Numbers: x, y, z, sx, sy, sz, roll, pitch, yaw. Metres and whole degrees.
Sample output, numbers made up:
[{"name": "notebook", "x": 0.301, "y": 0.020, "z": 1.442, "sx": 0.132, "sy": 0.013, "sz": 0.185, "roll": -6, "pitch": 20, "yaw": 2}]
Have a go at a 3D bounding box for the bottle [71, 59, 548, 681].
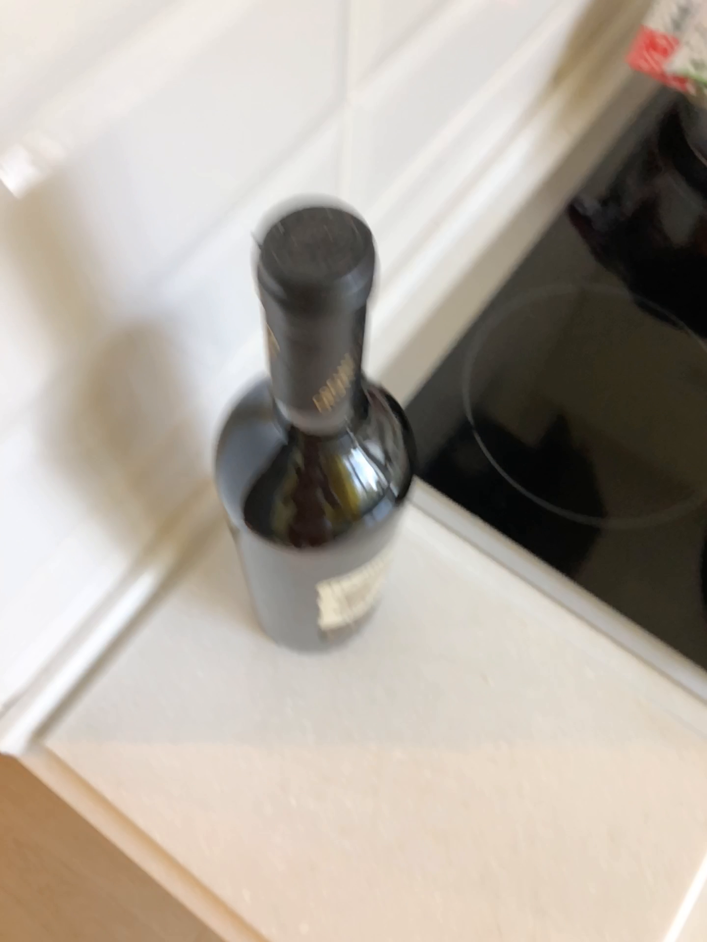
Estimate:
[{"name": "bottle", "x": -0.015, "y": 0.004, "z": 0.317, "sx": 0.080, "sy": 0.299, "sz": 0.080, "roll": 1, "pitch": 66, "yaw": -2}]
